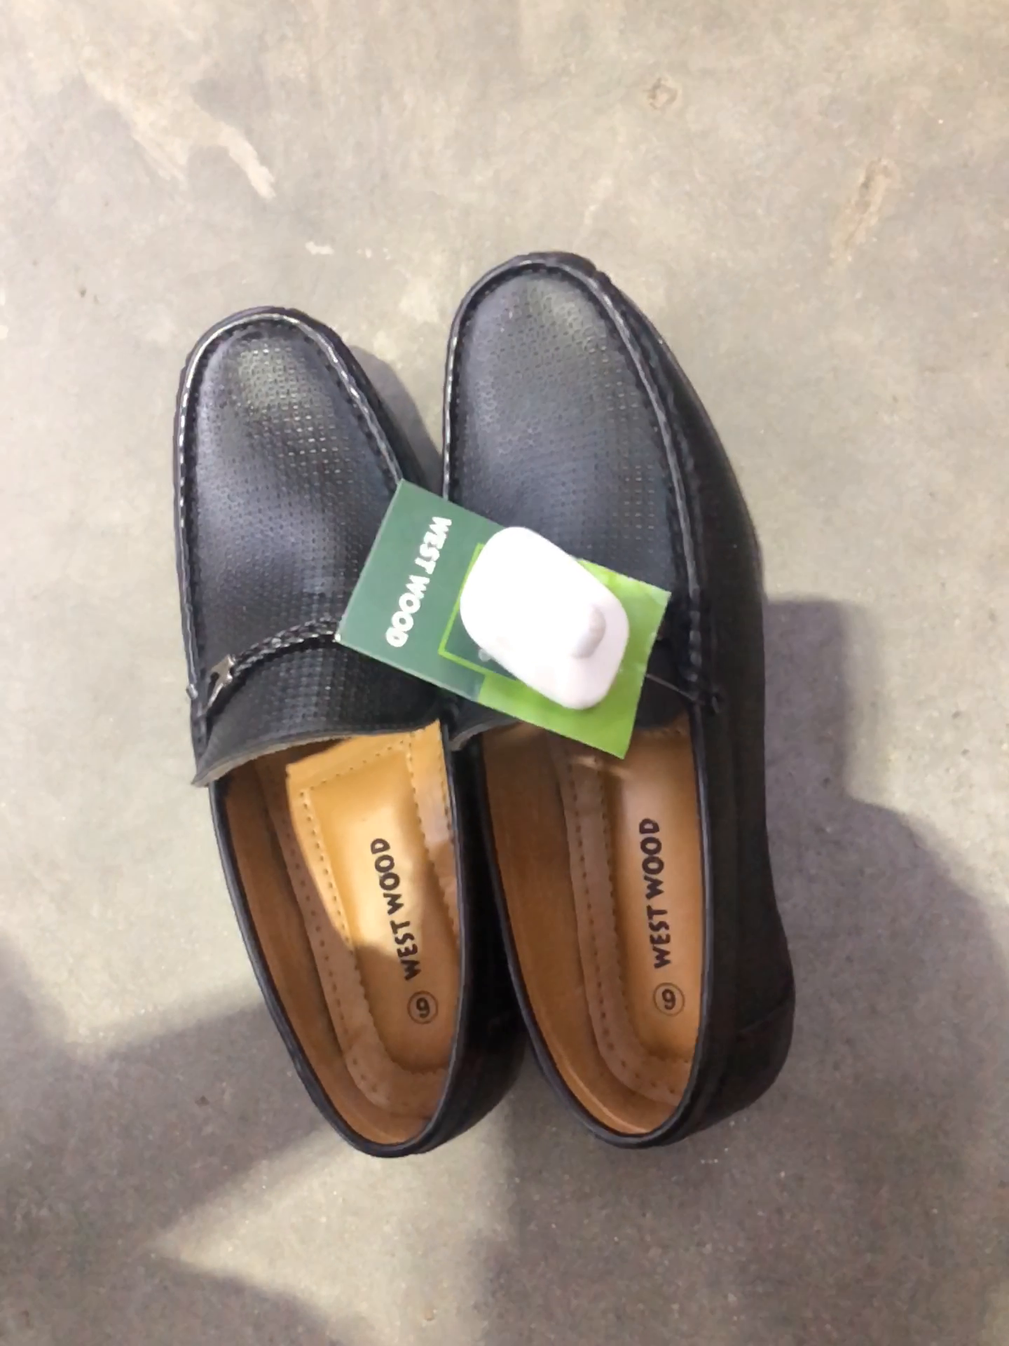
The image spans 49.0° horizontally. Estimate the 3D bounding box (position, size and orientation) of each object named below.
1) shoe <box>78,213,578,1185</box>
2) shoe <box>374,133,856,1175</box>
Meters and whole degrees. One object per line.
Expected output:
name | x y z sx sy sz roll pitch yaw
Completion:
shoe | -0.056 0.007 0.370 0.100 0.070 0.280 -12 83 8
shoe | 0.035 -0.004 0.343 0.090 0.070 0.280 -11 83 20
